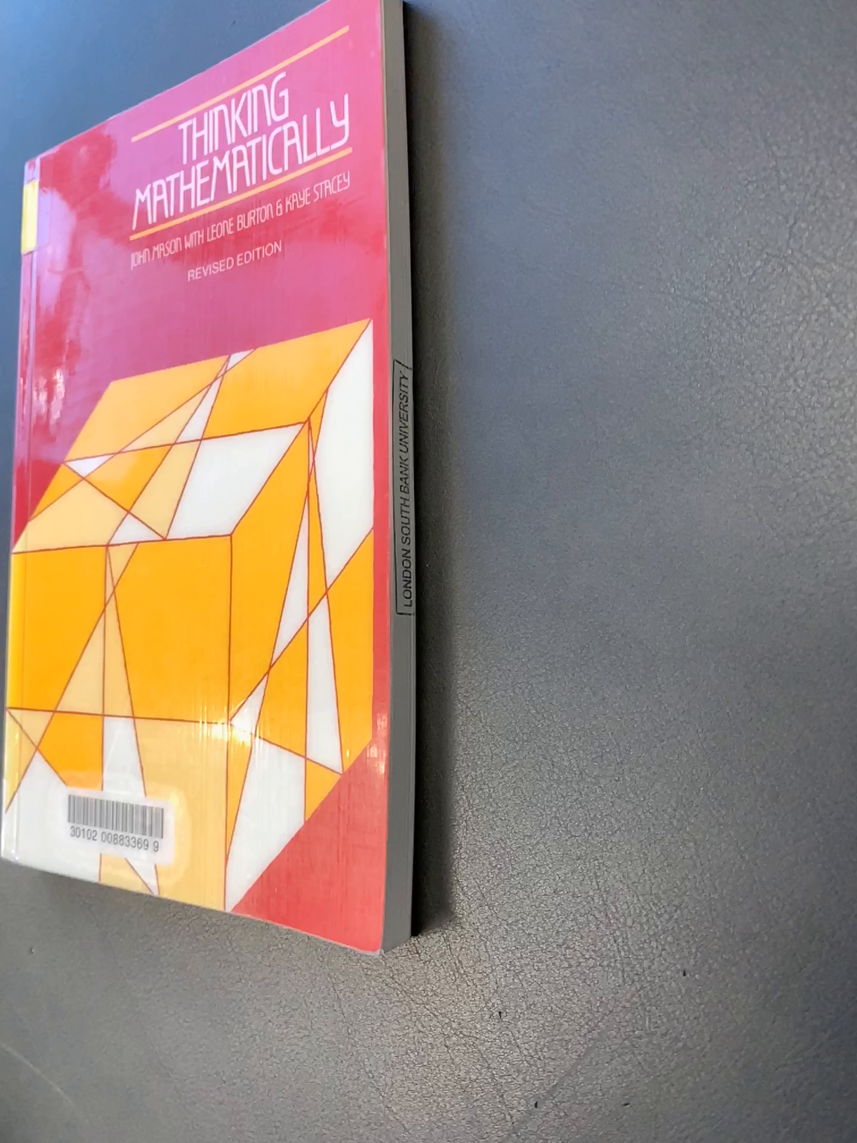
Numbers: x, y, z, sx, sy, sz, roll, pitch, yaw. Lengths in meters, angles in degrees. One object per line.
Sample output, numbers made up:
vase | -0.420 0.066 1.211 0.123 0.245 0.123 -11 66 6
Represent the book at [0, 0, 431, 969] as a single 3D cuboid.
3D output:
book | -0.070 -0.024 0.256 0.157 0.016 0.232 -3 85 35
